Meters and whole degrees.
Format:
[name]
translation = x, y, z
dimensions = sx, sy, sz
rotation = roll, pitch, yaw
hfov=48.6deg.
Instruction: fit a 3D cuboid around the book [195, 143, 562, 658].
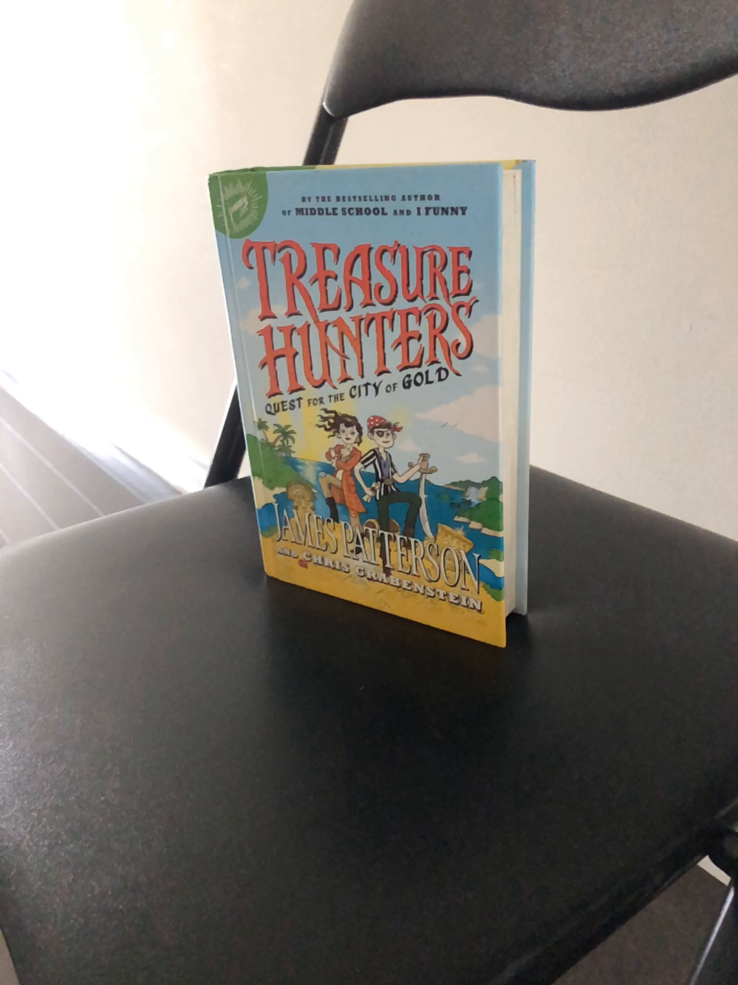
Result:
[book]
translation = 0.009, -0.041, 0.387
dimensions = 0.155, 0.215, 0.040
rotation = 12, 32, 34
